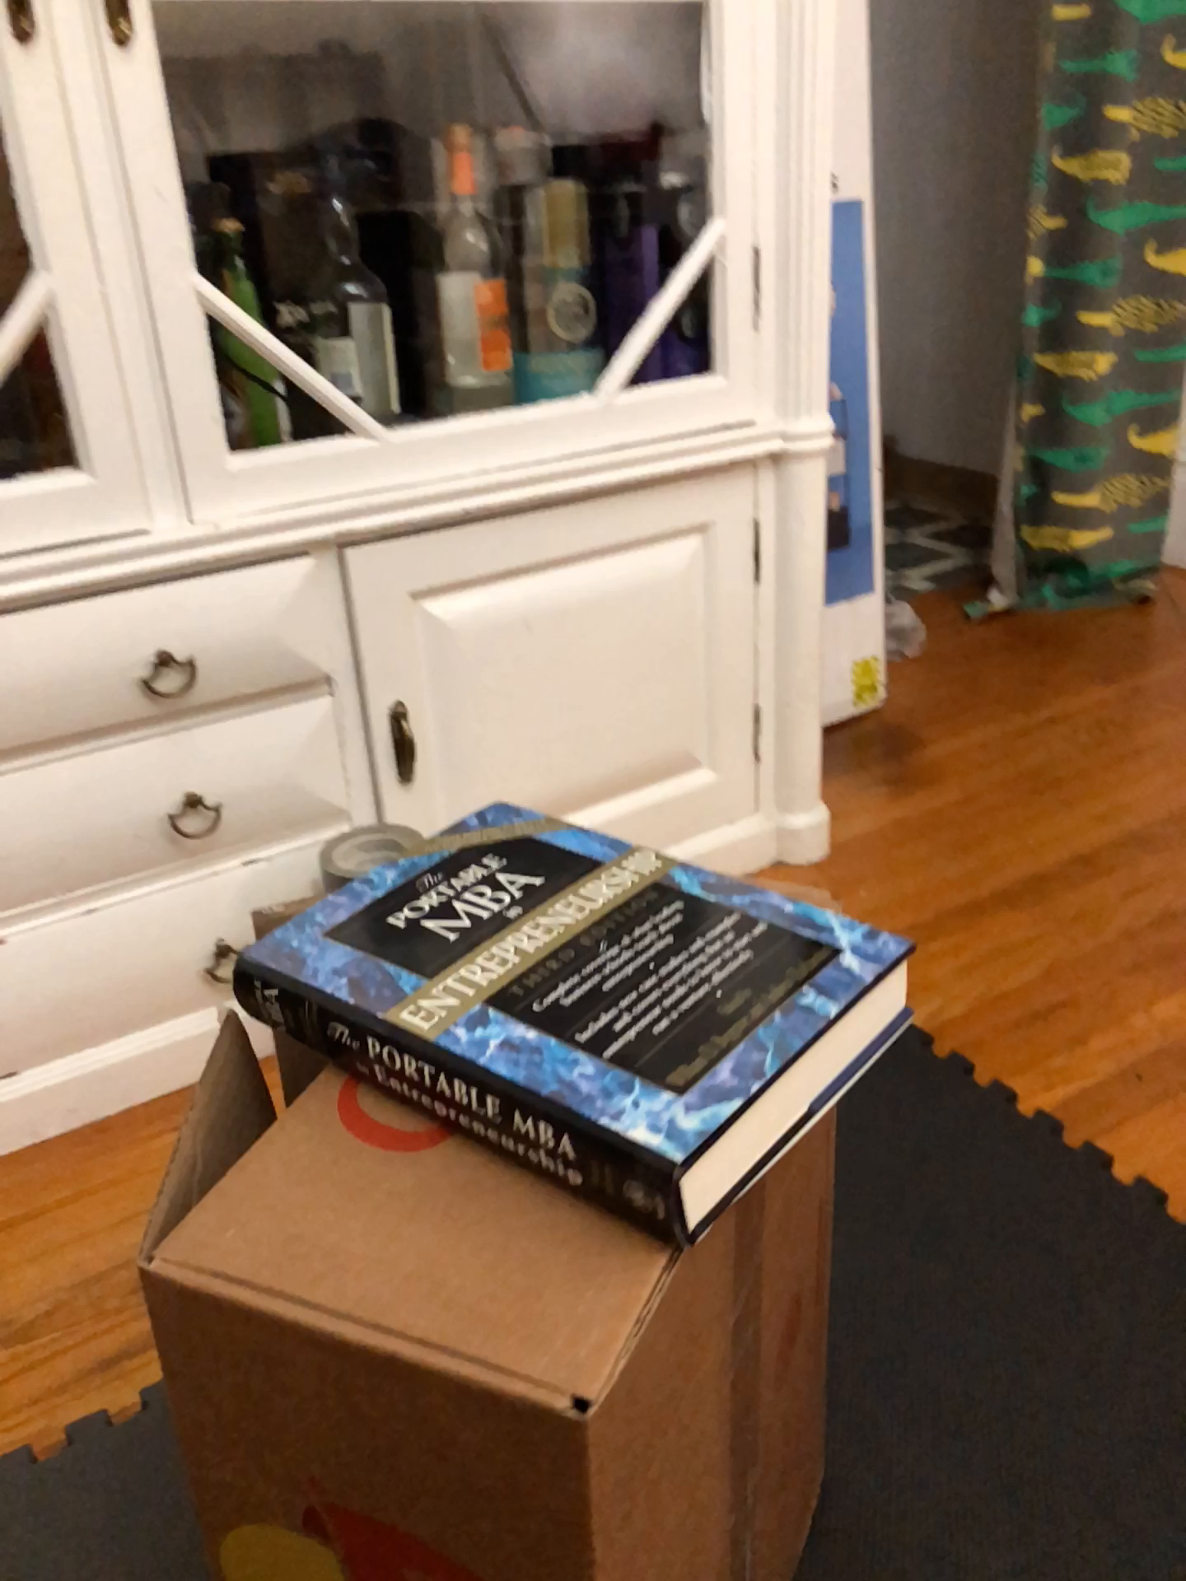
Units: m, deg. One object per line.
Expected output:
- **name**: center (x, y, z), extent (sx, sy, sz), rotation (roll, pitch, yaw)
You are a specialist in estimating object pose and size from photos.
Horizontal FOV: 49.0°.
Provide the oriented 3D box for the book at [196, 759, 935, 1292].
- **book**: center (-0.013, 0.083, 0.616), extent (0.270, 0.060, 0.211), rotation (18, 33, 34)
